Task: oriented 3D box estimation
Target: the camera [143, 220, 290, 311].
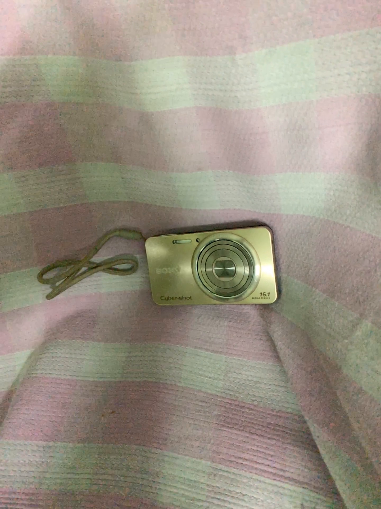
[{"bbox_3d":[0.017,0.009,0.270,0.092,0.027,0.053,-5,97,23],"label":"camera"}]
